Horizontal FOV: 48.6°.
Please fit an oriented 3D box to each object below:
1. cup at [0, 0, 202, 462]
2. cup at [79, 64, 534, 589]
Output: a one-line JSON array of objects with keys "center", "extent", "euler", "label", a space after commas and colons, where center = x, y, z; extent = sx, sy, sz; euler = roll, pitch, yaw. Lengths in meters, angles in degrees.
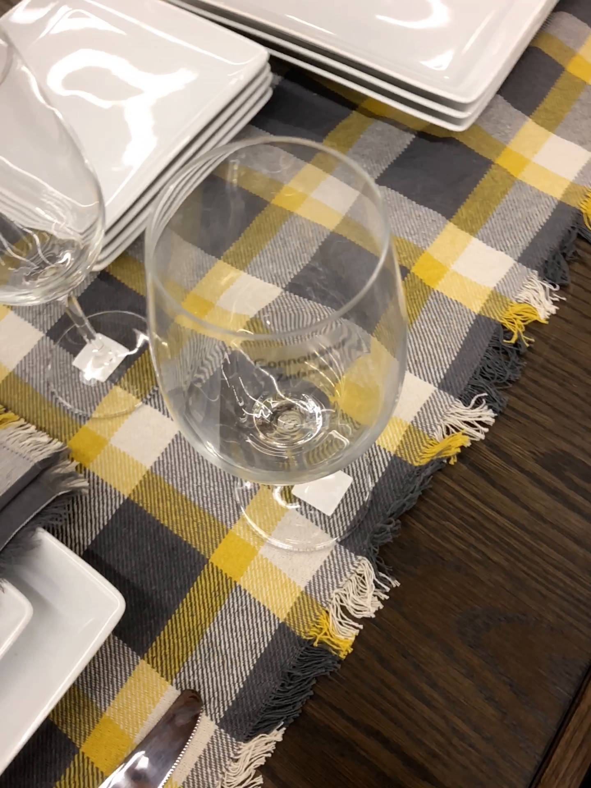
[{"center": [-0.112, -0.058, 0.290], "extent": [0.092, 0.193, 0.096], "euler": [-1, 65, 2], "label": "cup"}, {"center": [0.000, -0.001, 0.253], "extent": [0.092, 0.192, 0.096], "euler": [-1, 65, 2], "label": "cup"}]
